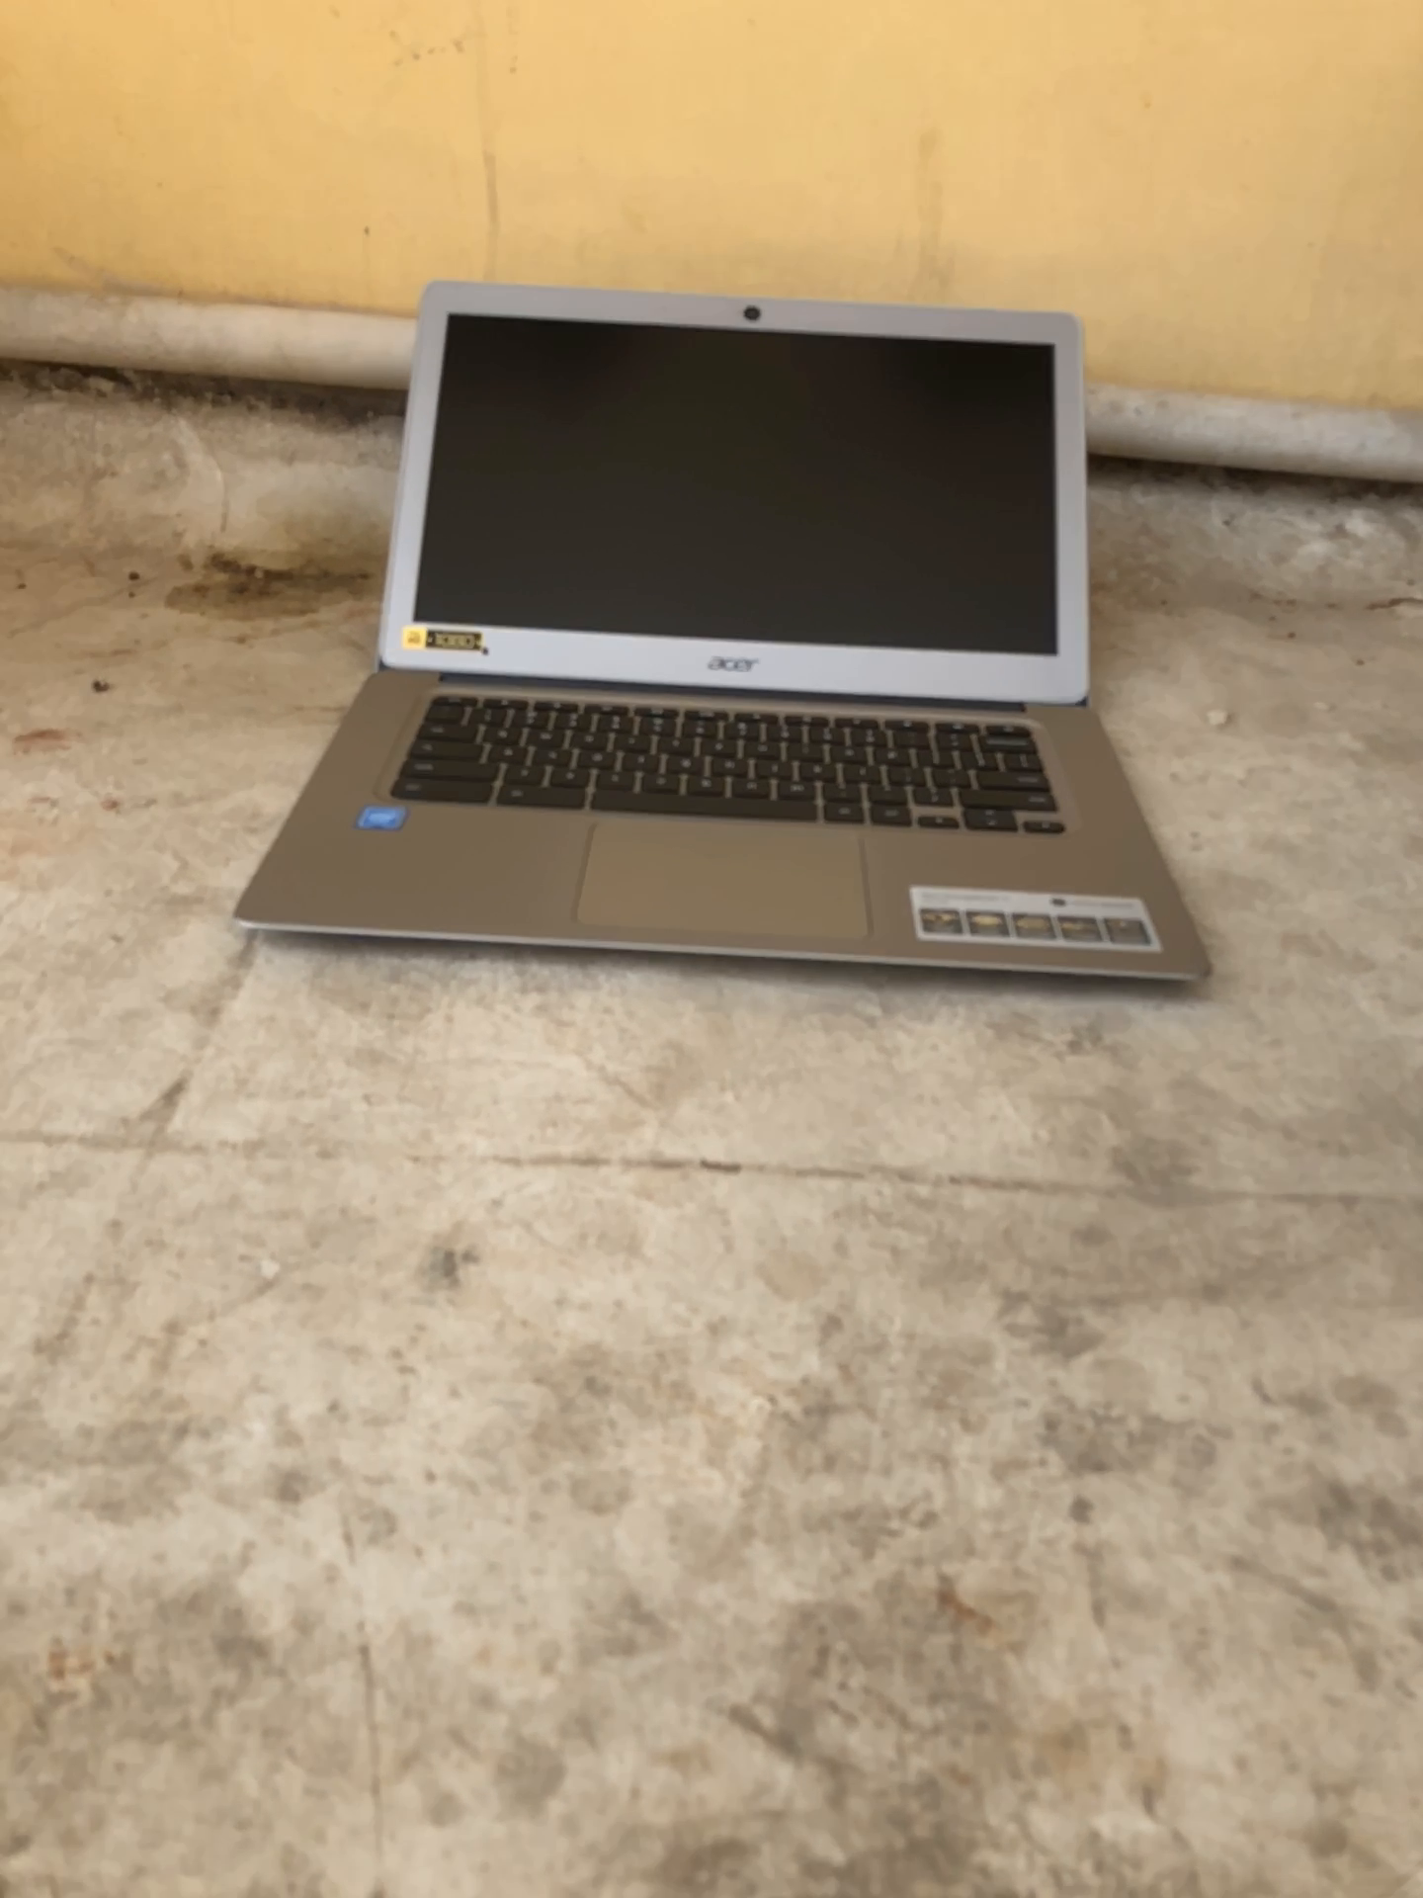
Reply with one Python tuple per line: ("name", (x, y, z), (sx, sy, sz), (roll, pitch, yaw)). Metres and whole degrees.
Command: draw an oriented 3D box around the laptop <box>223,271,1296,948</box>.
("laptop", (0.017, -0.170, 0.649), (0.315, 0.136, 0.381), (3, 32, 0))
